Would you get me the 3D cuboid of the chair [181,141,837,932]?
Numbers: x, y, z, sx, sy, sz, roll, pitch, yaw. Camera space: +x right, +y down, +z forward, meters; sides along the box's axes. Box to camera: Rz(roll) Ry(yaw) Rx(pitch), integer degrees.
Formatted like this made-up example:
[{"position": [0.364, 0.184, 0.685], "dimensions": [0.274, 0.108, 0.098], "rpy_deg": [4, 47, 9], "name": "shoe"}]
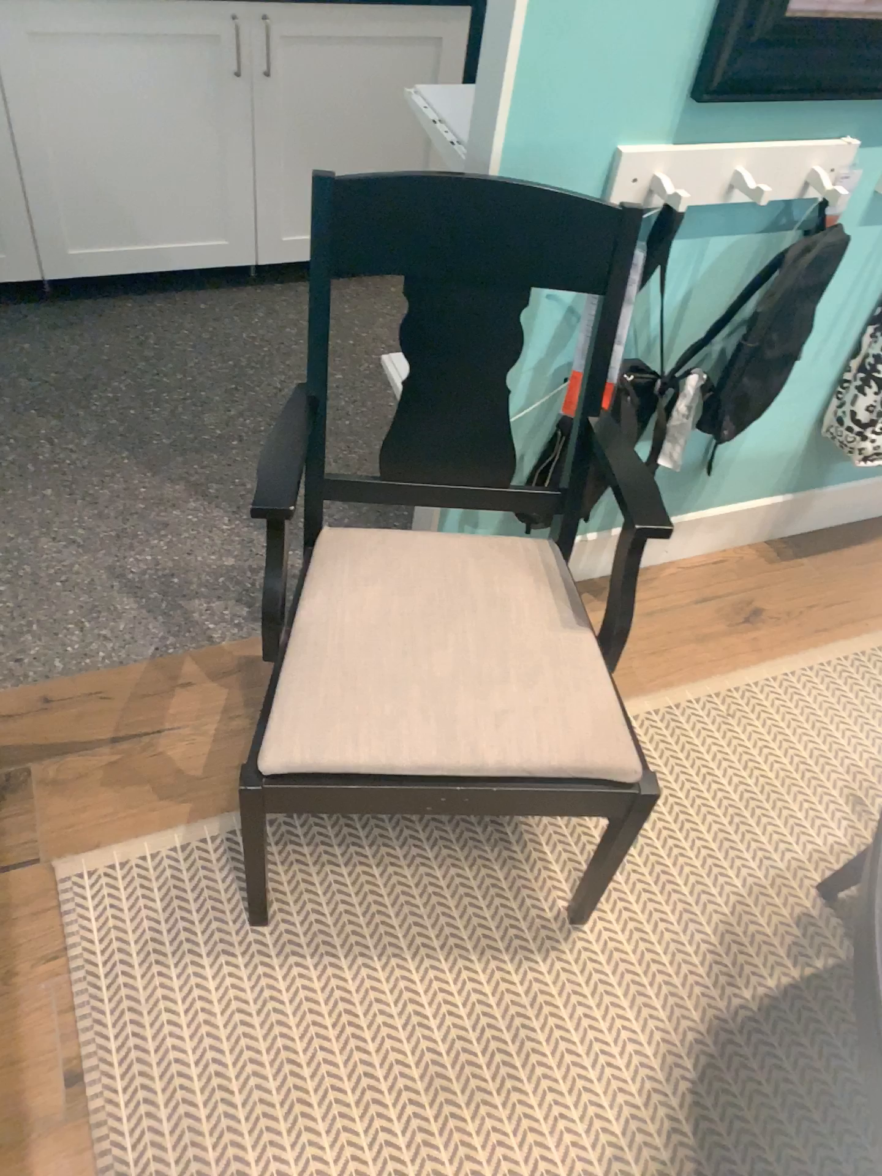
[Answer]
[{"position": [-0.003, -0.040, 1.399], "dimensions": [0.600, 0.897, 0.803], "rpy_deg": [2, 48, -7], "name": "chair"}]
